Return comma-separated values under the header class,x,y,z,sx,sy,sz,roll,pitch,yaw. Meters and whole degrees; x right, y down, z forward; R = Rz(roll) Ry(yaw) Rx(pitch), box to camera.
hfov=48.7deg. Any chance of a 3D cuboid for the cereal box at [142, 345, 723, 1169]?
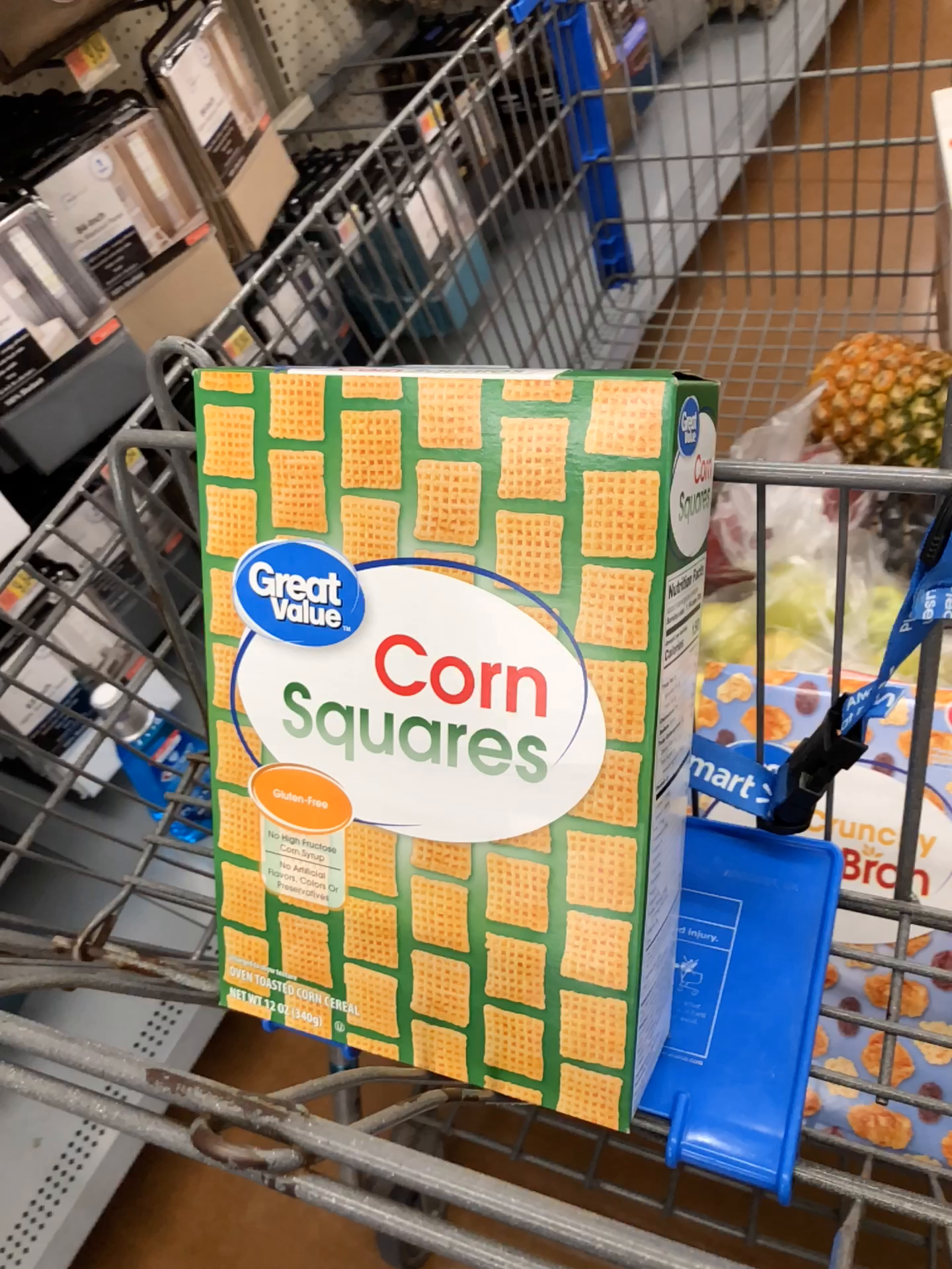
class,x,y,z,sx,sy,sz,roll,pitch,yaw
cereal box,-0.020,0.034,0.411,0.200,0.280,0.070,6,14,24
